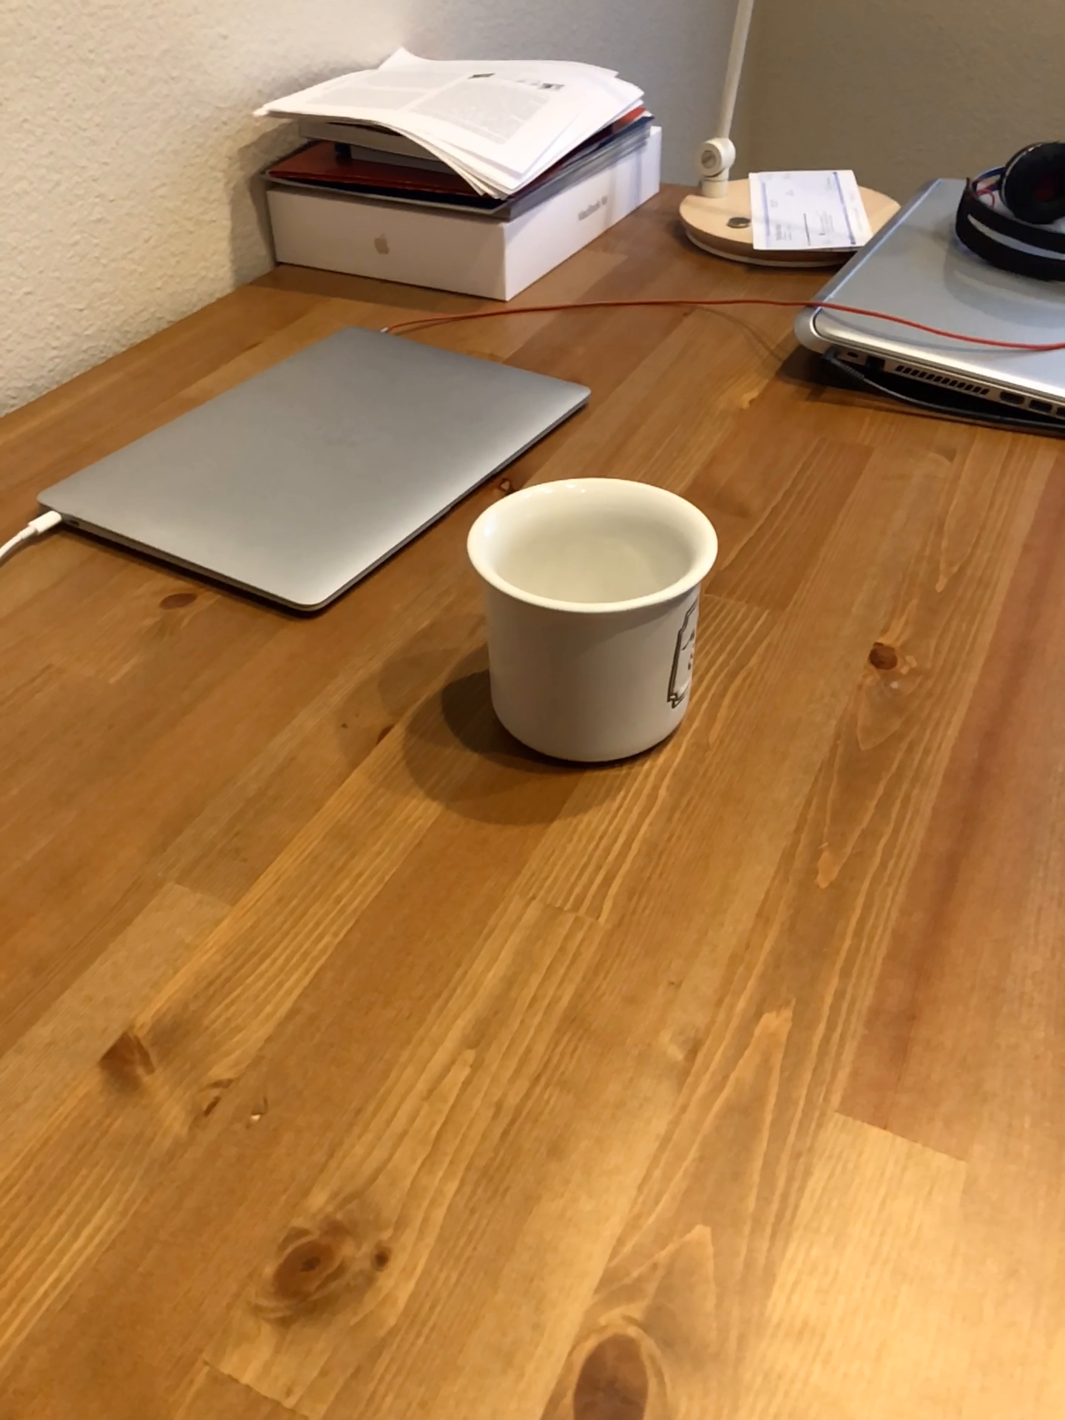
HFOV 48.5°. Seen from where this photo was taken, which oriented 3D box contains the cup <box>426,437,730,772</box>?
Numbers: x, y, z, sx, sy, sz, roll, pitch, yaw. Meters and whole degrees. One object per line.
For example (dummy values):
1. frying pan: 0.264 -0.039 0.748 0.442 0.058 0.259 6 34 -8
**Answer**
1. cup: 0.025 -0.054 0.548 0.120 0.080 0.151 2 40 5
